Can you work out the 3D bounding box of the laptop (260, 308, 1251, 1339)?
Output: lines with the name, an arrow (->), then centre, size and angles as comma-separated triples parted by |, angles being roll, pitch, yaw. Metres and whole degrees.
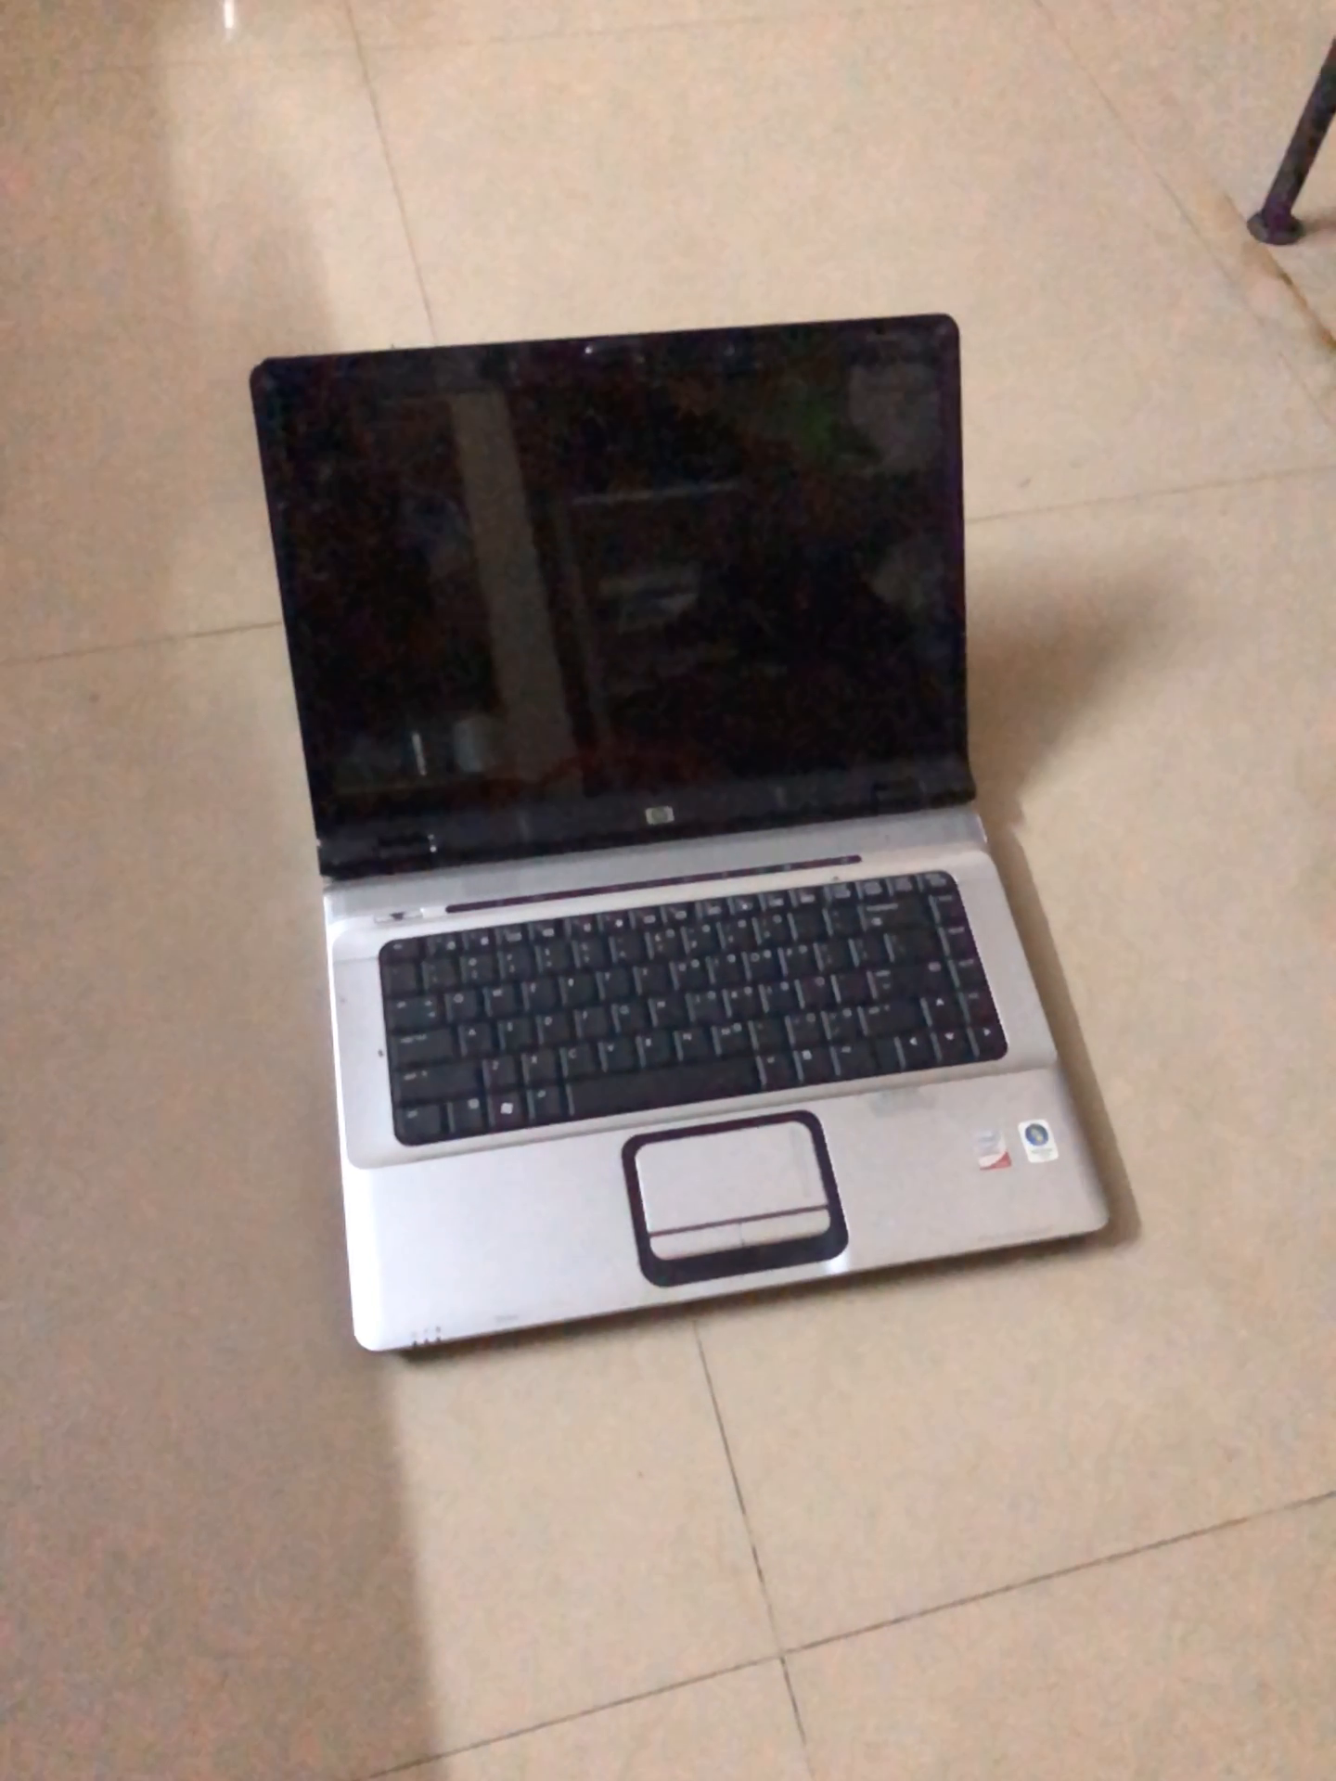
laptop -> 0.007, -0.048, 0.678 | 0.338, 0.166, 0.410 | -7, 62, -9
